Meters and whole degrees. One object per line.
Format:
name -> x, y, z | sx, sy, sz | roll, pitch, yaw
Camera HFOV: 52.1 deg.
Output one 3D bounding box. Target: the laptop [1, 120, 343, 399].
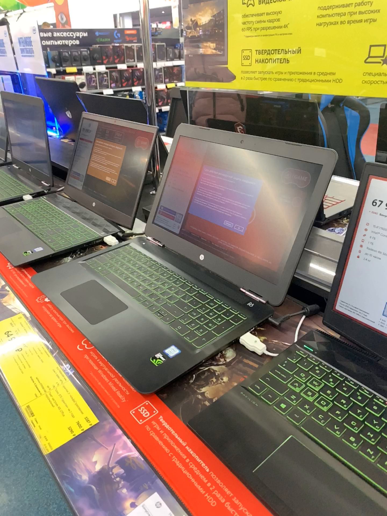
laptop -> -0.043, -0.064, 0.662 | 0.379, 0.223, 0.386 | -24, 35, -33
